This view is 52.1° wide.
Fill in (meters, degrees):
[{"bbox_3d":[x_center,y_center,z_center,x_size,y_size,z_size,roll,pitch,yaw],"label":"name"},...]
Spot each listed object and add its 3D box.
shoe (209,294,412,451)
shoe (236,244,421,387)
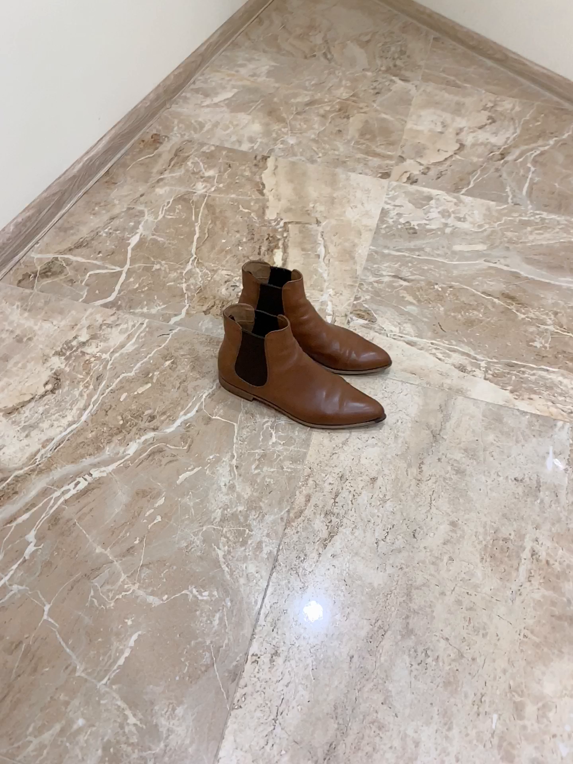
[{"bbox_3d":[0.028,-0.013,0.810,0.250,0.129,0.090,16,48,8],"label":"shoe"},{"bbox_3d":[0.057,-0.101,0.885,0.250,0.119,0.090,18,49,11],"label":"shoe"}]
